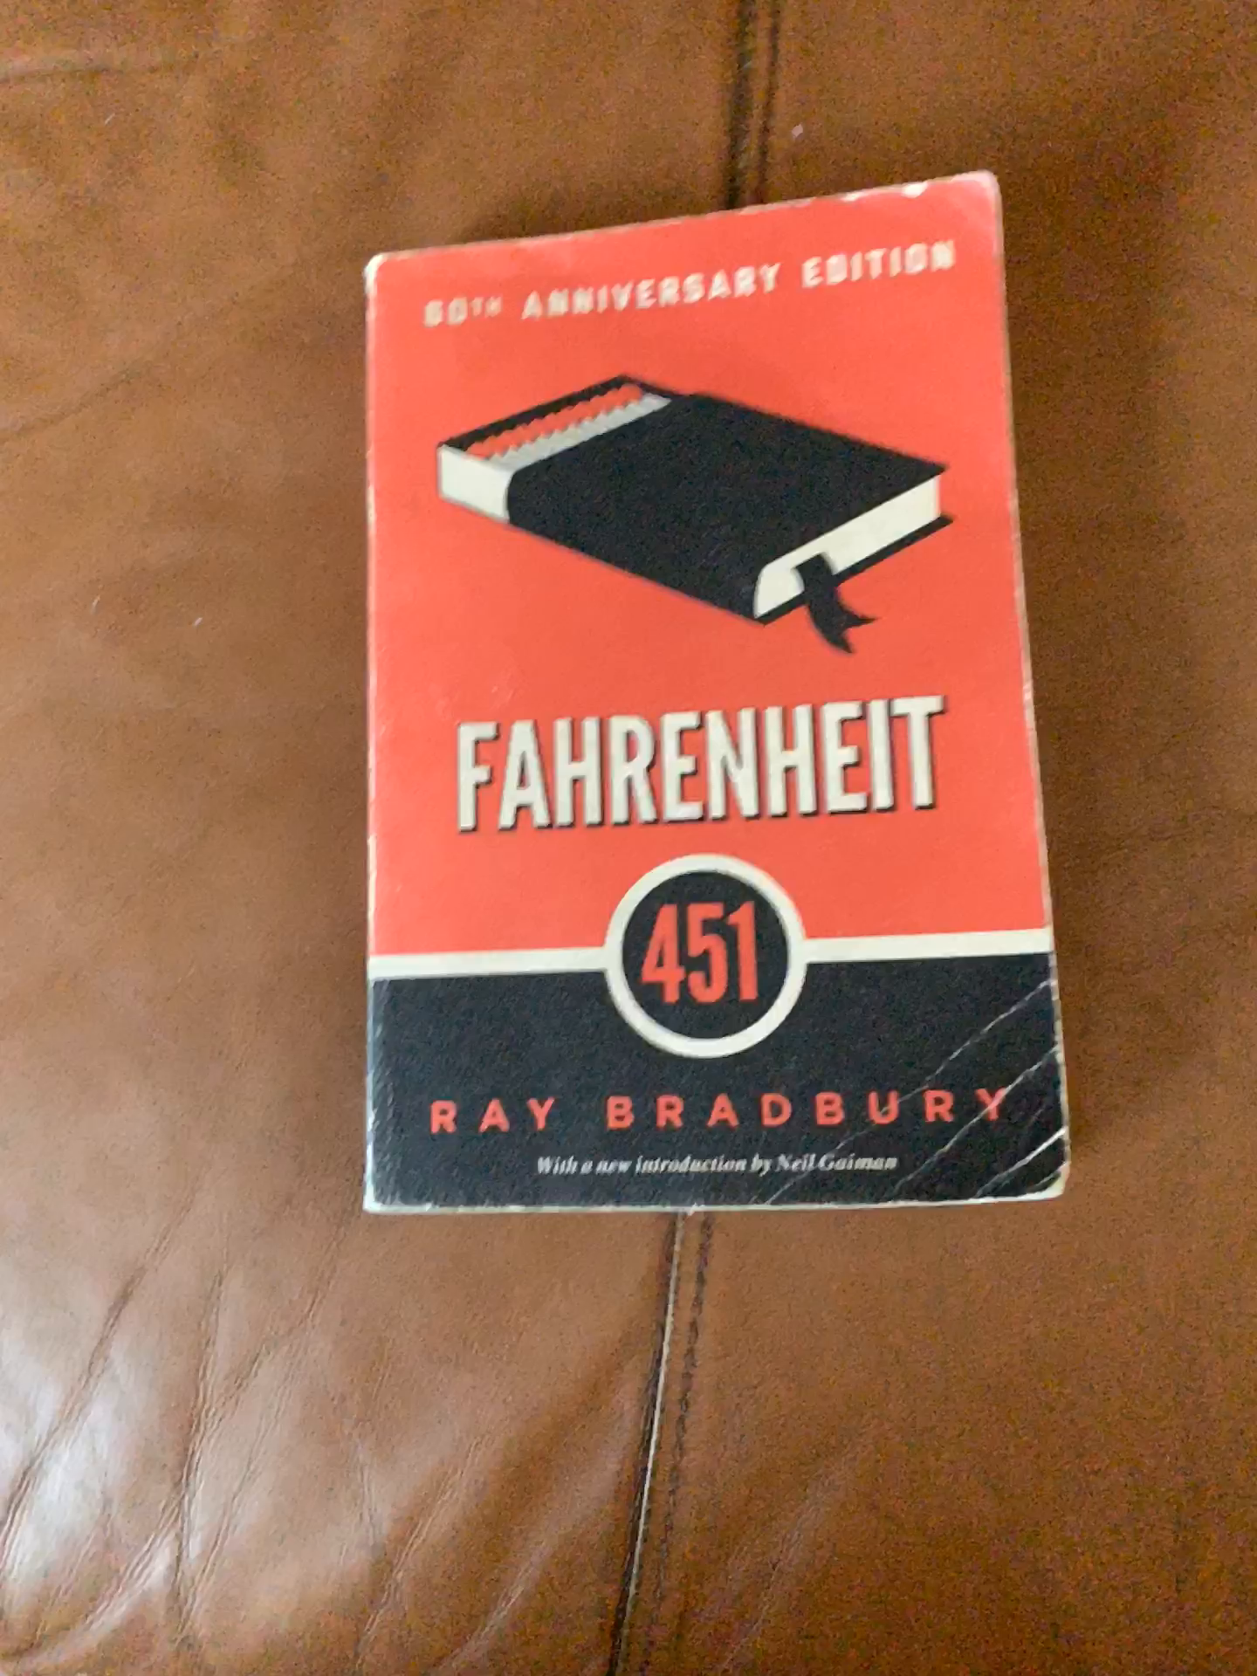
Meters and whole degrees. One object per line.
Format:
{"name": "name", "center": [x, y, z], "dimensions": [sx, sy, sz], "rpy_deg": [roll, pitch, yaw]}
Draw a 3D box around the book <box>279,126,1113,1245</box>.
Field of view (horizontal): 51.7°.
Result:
{"name": "book", "center": [0.007, -0.034, 0.274], "dimensions": [0.150, 0.040, 0.220], "rpy_deg": [-3, 79, 3]}
